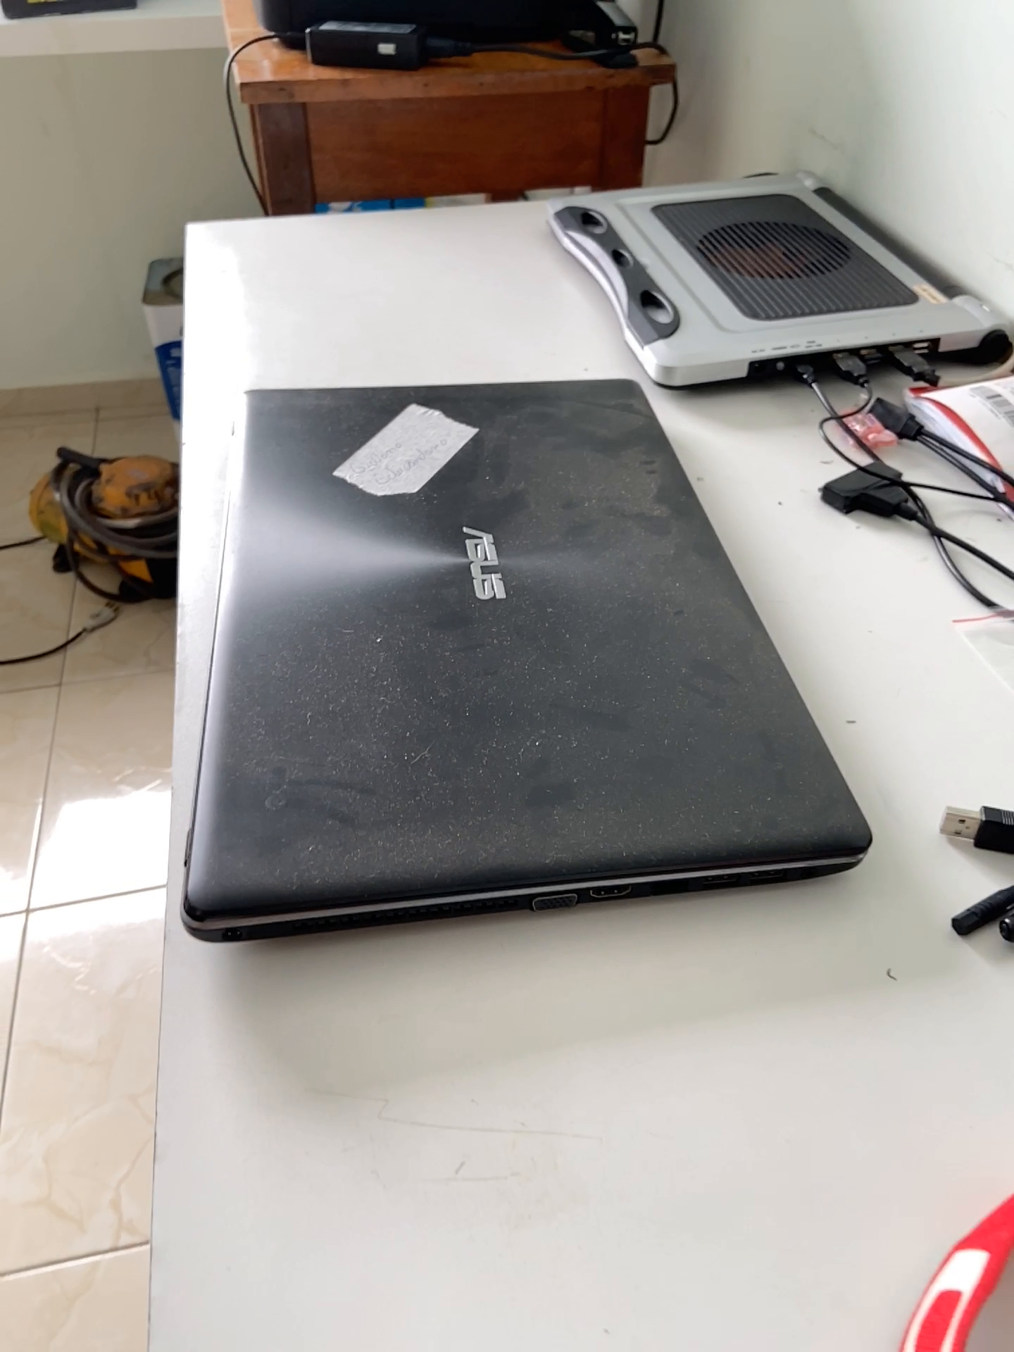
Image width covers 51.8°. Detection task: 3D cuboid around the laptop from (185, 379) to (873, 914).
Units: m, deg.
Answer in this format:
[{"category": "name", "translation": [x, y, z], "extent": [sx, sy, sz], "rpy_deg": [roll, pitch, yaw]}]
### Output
[{"category": "laptop", "translation": [-0.016, -0.054, 0.521], "extent": [0.250, 0.007, 0.387], "rpy_deg": [-4, 42, -7]}]
